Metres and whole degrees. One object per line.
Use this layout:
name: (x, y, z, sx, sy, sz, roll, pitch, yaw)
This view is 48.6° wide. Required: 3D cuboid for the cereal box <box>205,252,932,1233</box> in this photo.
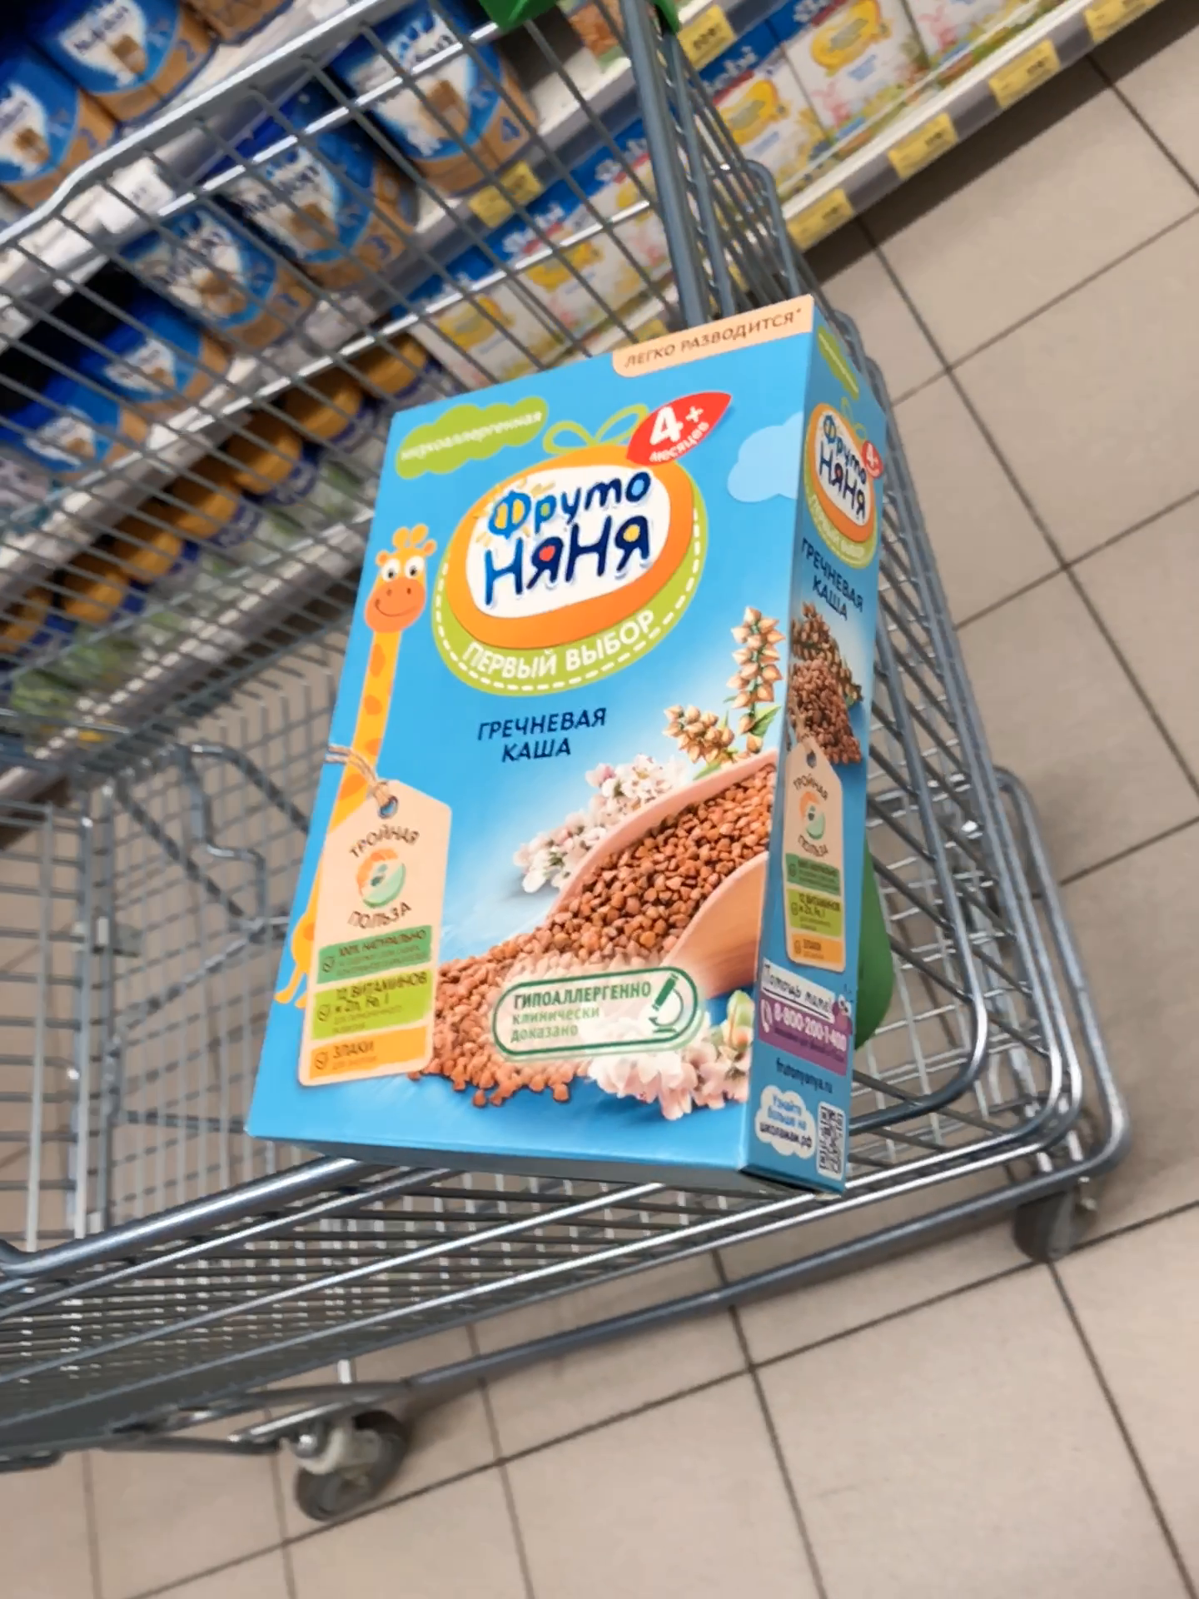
cereal box: (-0.003, -0.012, 0.326, 0.151, 0.050, 0.210, -6, 67, 31)
